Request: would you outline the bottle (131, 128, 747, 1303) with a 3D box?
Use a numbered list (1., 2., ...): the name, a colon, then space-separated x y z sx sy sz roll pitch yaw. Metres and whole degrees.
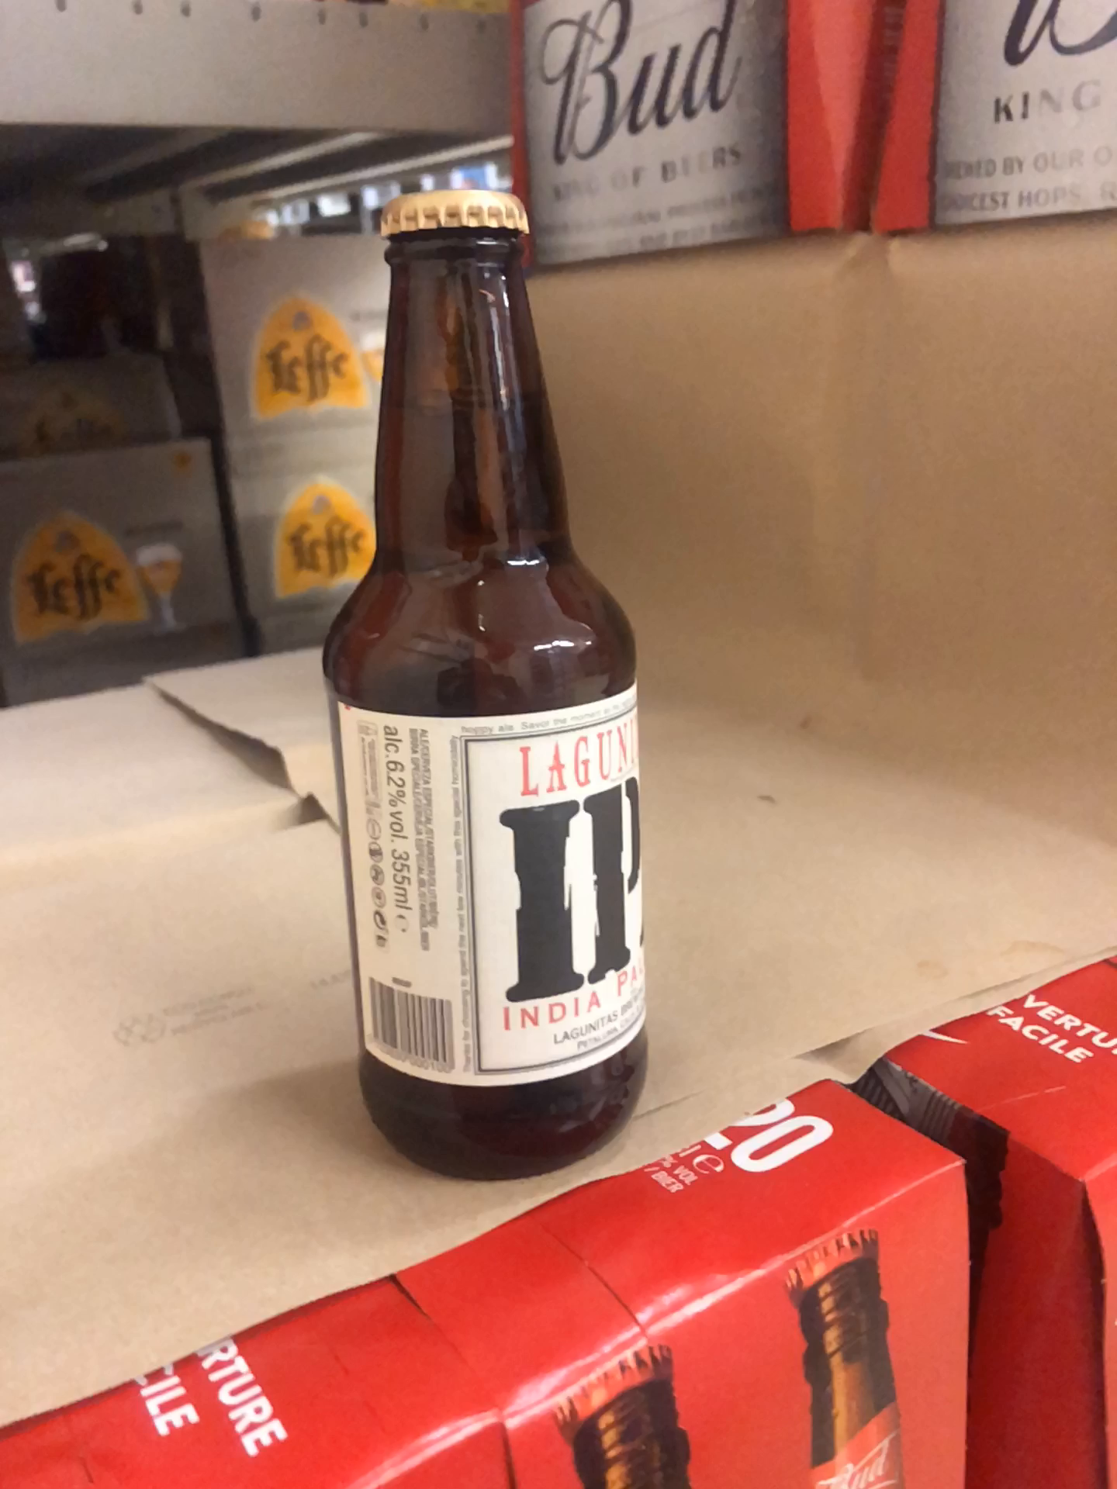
1. bottle: -0.018 -0.007 0.255 0.080 0.199 0.080 0 17 0
